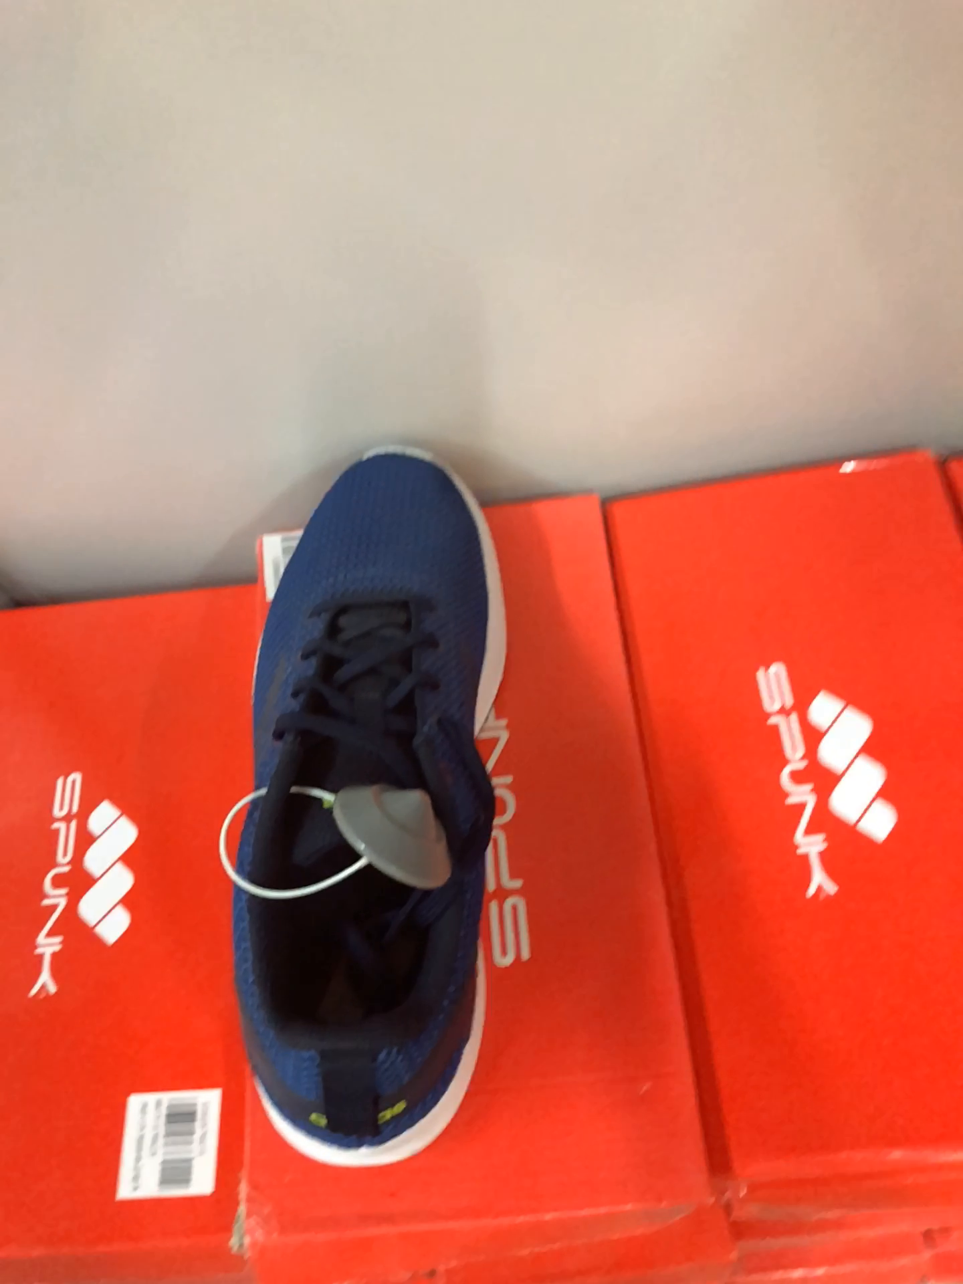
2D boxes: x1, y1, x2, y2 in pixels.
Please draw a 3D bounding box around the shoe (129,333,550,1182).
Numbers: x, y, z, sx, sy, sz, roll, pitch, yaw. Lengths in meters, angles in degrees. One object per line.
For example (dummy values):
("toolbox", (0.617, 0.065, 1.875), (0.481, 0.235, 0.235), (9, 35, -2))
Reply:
("shoe", (-0.044, 0.032, 0.430), (0.113, 0.114, 0.317), (-5, 56, 4))
